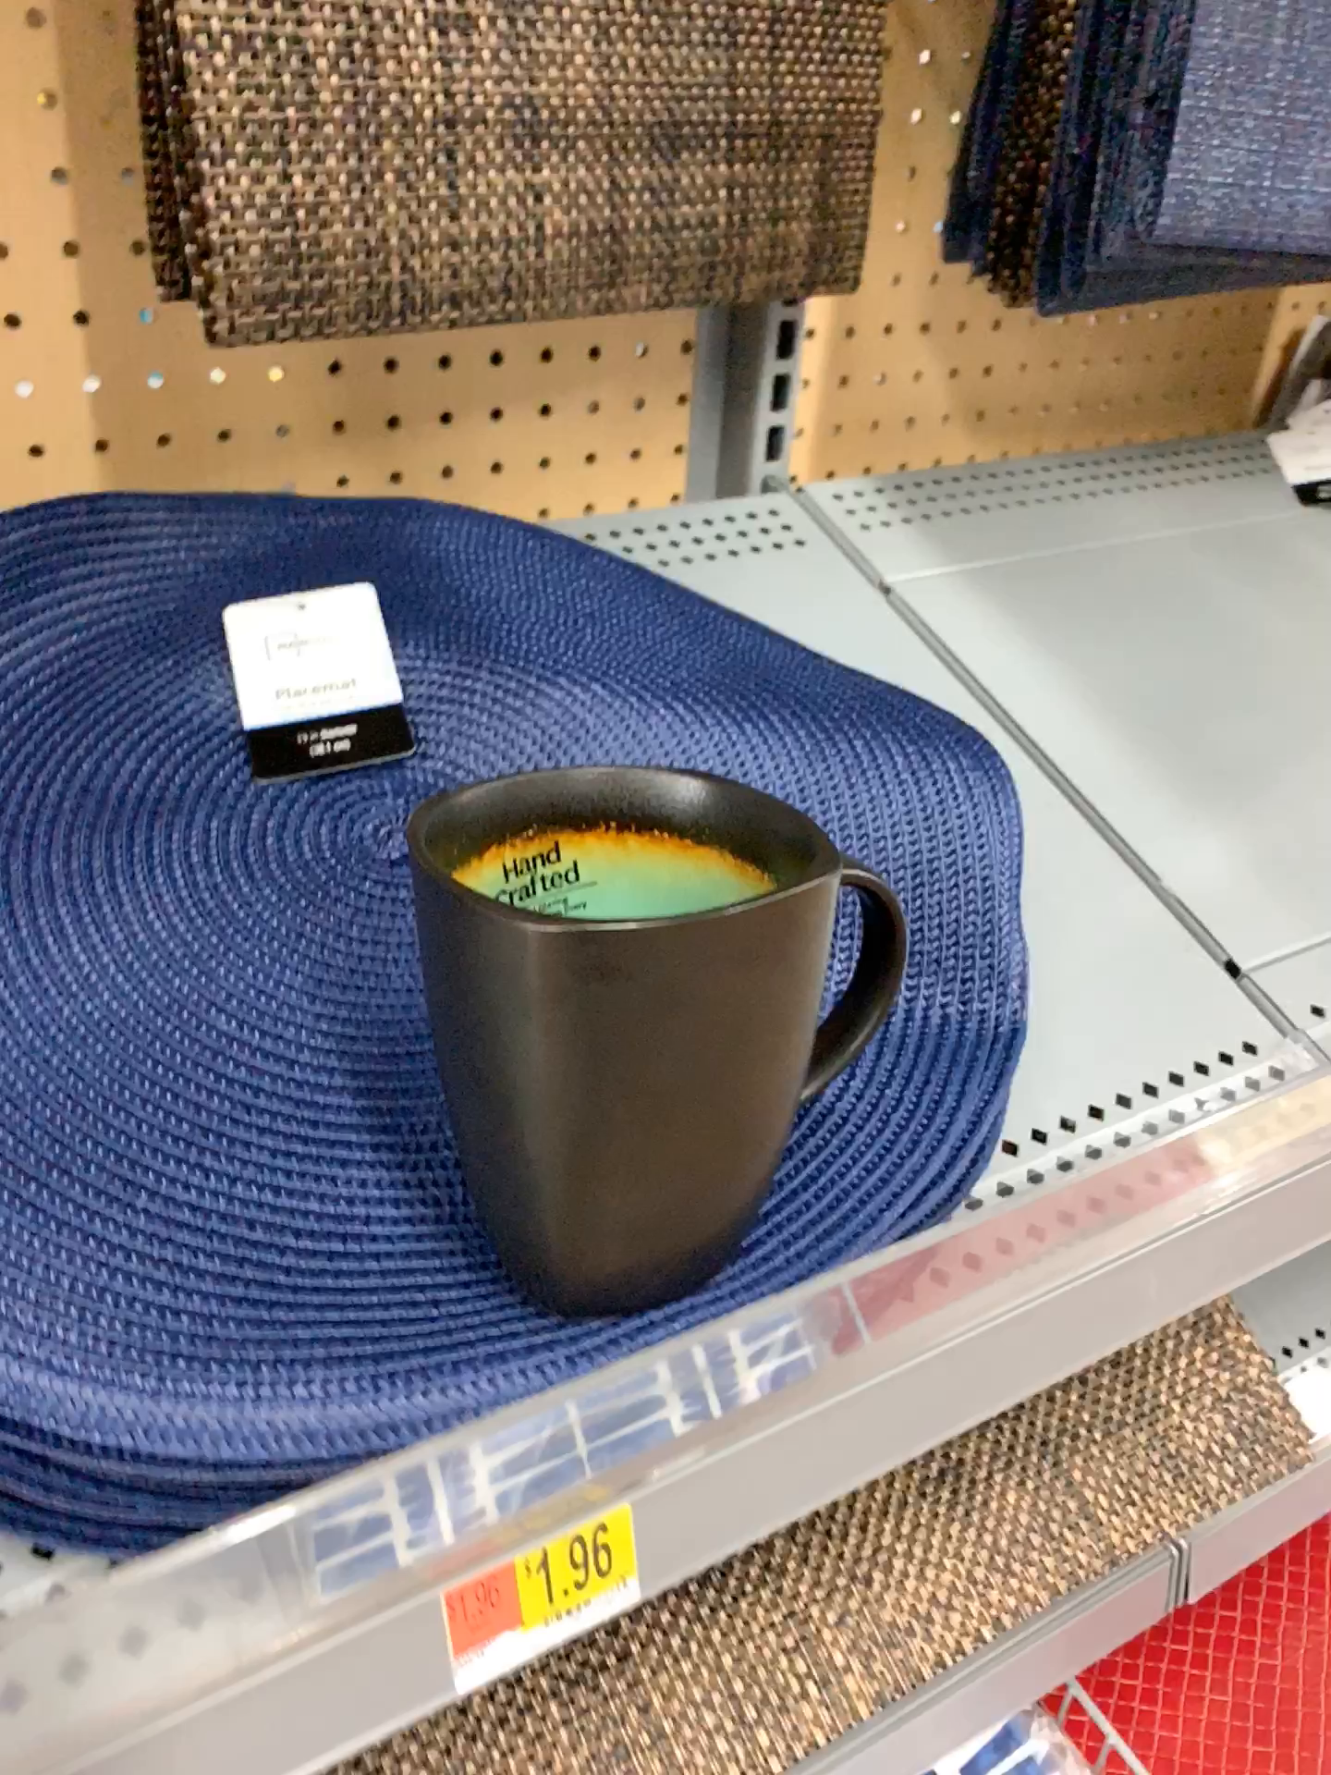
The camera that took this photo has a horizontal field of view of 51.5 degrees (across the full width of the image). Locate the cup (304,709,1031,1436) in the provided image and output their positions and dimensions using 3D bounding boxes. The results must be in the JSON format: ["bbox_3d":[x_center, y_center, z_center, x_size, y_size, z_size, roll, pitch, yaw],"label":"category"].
[{"bbox_3d":[-0.004,0.034,0.321,0.130,0.109,0.090,-11,30,-22],"label":"cup"}]
